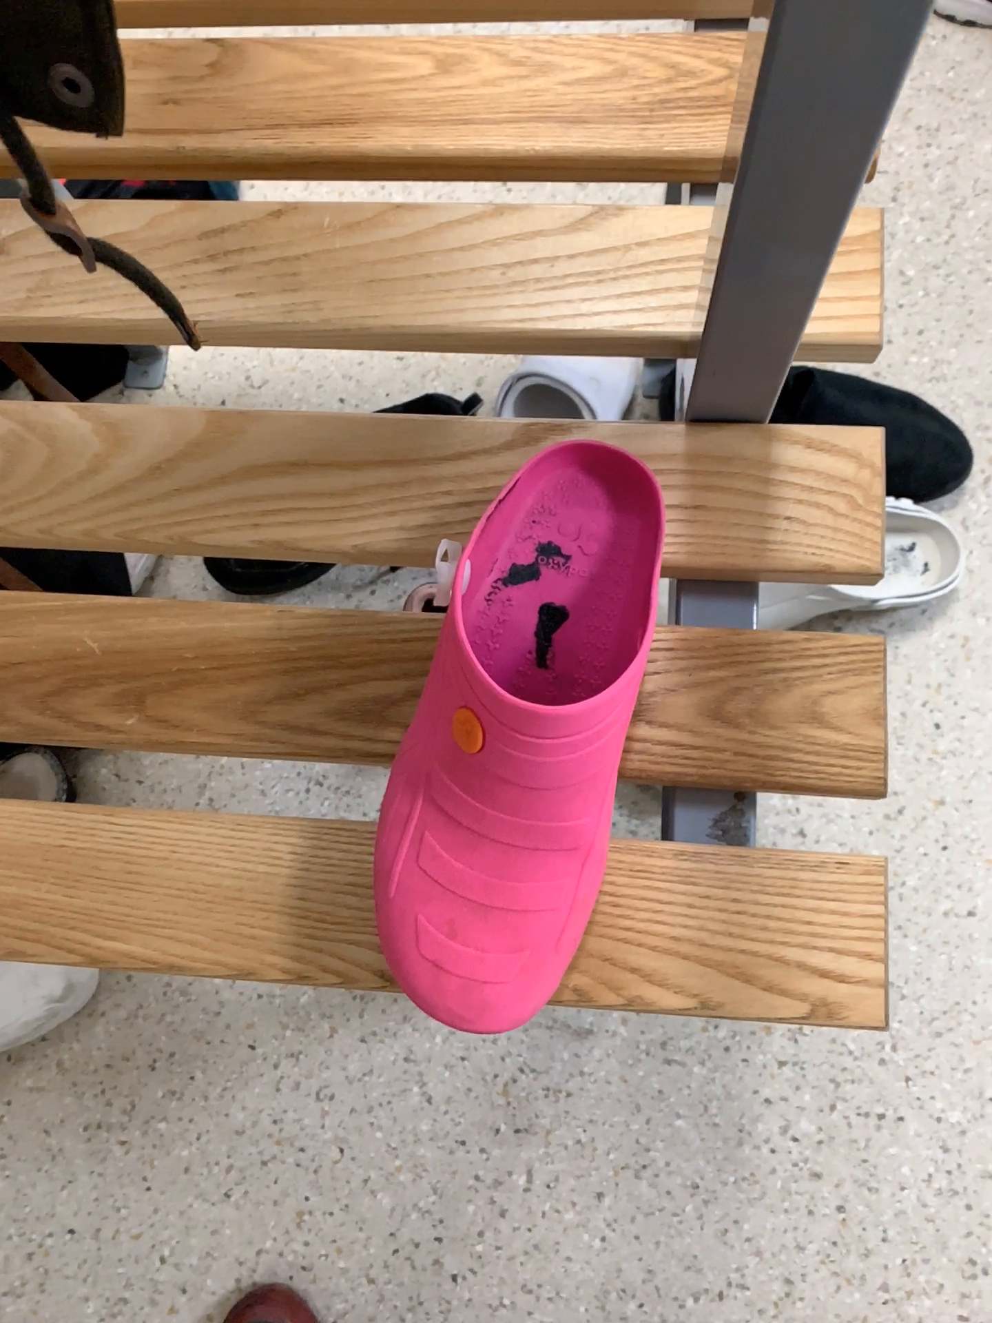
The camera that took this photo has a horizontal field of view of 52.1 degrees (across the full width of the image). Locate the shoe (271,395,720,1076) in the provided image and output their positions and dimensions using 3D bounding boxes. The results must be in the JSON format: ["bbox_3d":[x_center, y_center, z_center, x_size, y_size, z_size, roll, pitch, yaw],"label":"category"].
[{"bbox_3d":[0.006,0.024,0.387,0.096,0.068,0.220,16,80,9],"label":"shoe"}]
